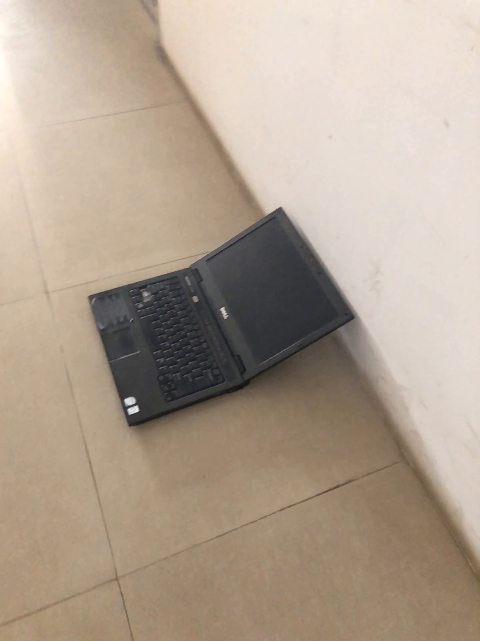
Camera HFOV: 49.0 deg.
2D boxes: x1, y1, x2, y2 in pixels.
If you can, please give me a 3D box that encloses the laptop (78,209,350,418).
[{"bbox_3d":[-0.058,-0.033,1.036,0.432,0.114,0.300,-17,56,-15],"label":"laptop"}]
